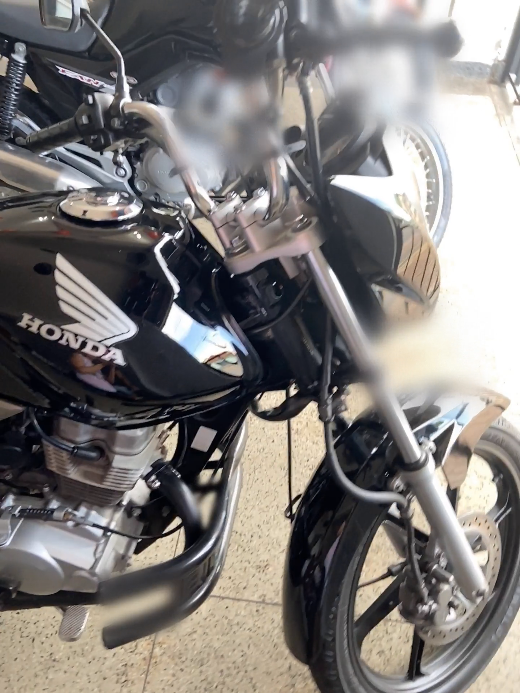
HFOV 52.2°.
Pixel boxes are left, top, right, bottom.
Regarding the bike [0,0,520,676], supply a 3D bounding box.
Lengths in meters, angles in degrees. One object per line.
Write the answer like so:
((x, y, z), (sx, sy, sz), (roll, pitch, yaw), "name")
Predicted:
((-0.337, -0.008, 0.940), (1.735, 1.138, 0.777), (2, 48, 0), "bike")
